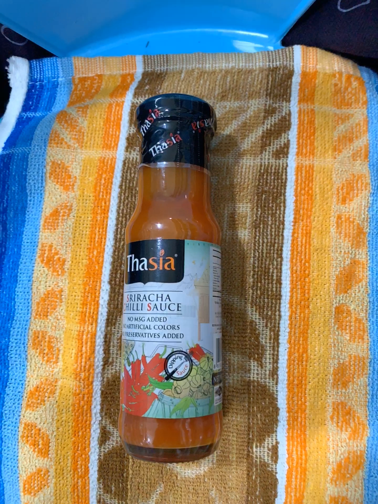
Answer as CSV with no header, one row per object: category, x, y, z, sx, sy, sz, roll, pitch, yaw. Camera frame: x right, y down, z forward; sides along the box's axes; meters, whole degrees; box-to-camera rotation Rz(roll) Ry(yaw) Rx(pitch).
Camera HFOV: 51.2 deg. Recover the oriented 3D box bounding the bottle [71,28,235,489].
bottle,-0.010,-0.002,0.183,0.050,0.050,0.180,-3,77,22
